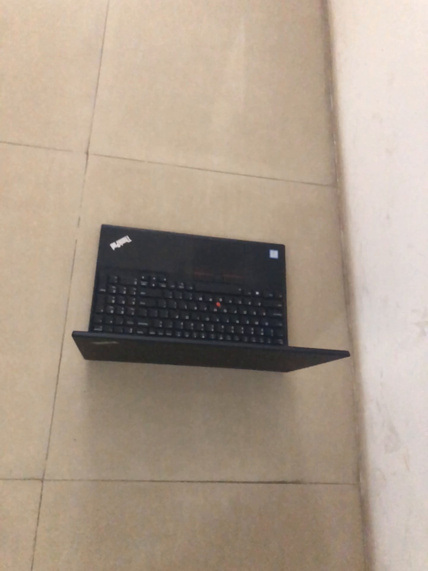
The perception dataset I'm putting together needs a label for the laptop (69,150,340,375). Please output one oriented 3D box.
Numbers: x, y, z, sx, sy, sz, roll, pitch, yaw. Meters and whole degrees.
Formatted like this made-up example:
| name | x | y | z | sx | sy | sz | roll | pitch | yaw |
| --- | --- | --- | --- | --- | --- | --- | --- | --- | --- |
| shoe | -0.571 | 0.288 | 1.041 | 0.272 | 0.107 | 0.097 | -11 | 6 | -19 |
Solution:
| name | x | y | z | sx | sy | sz | roll | pitch | yaw |
| --- | --- | --- | --- | --- | --- | --- | --- | --- | --- |
| laptop | -0.018 | -0.012 | 0.758 | 0.354 | 0.241 | 0.255 | 6 | 70 | -10 |
